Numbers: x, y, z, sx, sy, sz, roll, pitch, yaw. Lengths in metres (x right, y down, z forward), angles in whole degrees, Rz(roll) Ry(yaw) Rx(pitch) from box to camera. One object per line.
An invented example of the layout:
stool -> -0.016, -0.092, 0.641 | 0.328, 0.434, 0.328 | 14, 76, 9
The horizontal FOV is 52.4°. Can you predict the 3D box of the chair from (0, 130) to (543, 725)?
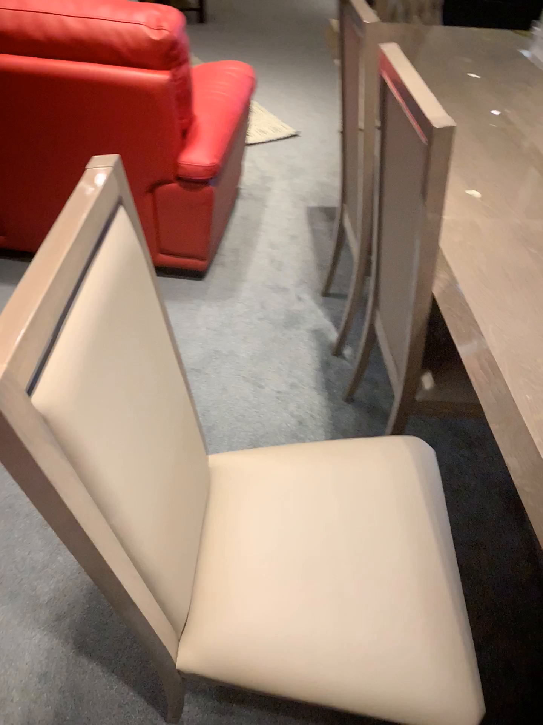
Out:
chair -> 0.041, 0.246, 0.848 | 0.585, 0.946, 0.543 | 3, 44, -2
